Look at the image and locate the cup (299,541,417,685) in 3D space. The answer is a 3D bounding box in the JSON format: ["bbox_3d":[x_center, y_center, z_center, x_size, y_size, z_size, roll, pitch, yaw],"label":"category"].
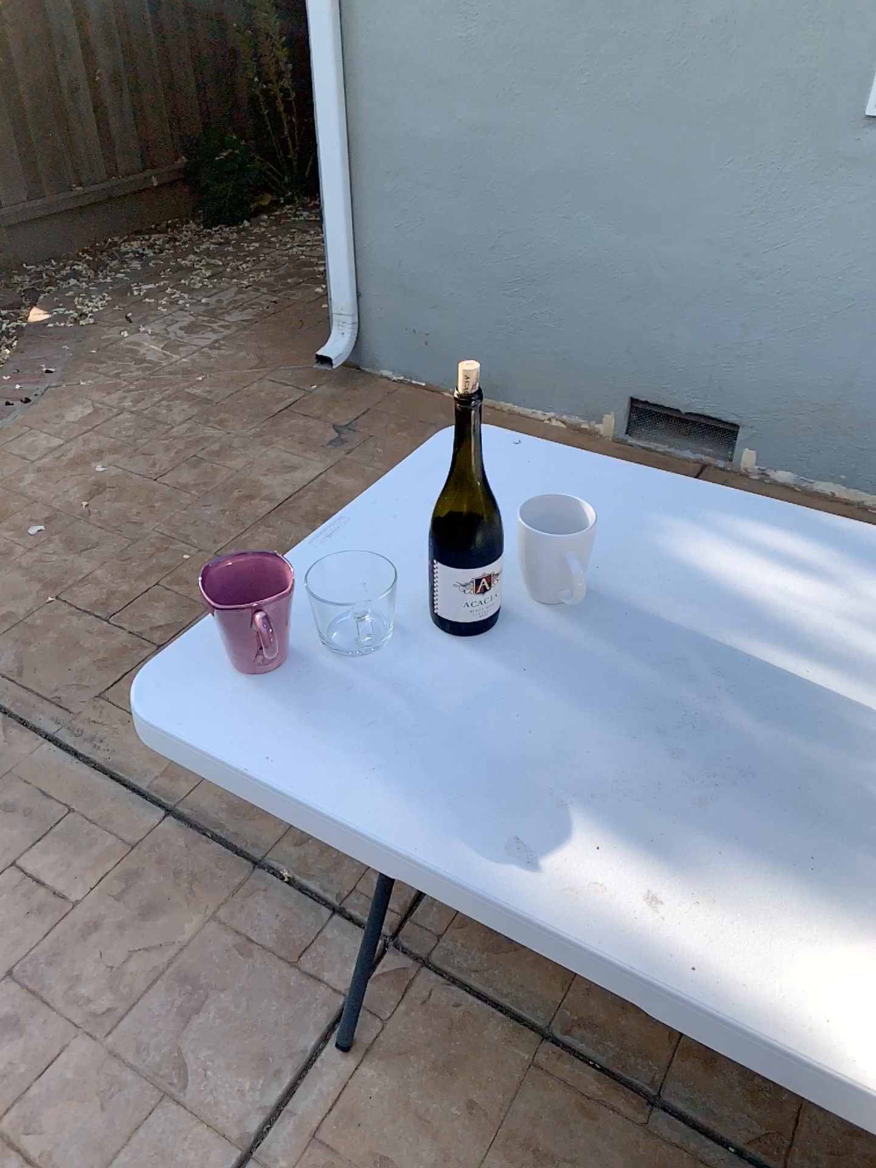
[{"bbox_3d":[-0.089,0.029,0.985,0.100,0.080,0.131,-10,37,-13],"label":"cup"}]

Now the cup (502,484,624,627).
[{"bbox_3d":[0.138,-0.034,1.016,0.090,0.099,0.121,-10,37,-13],"label":"cup"}]

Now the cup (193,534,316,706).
[{"bbox_3d":[-0.195,0.036,0.948,0.100,0.109,0.131,-10,37,-13],"label":"cup"}]
